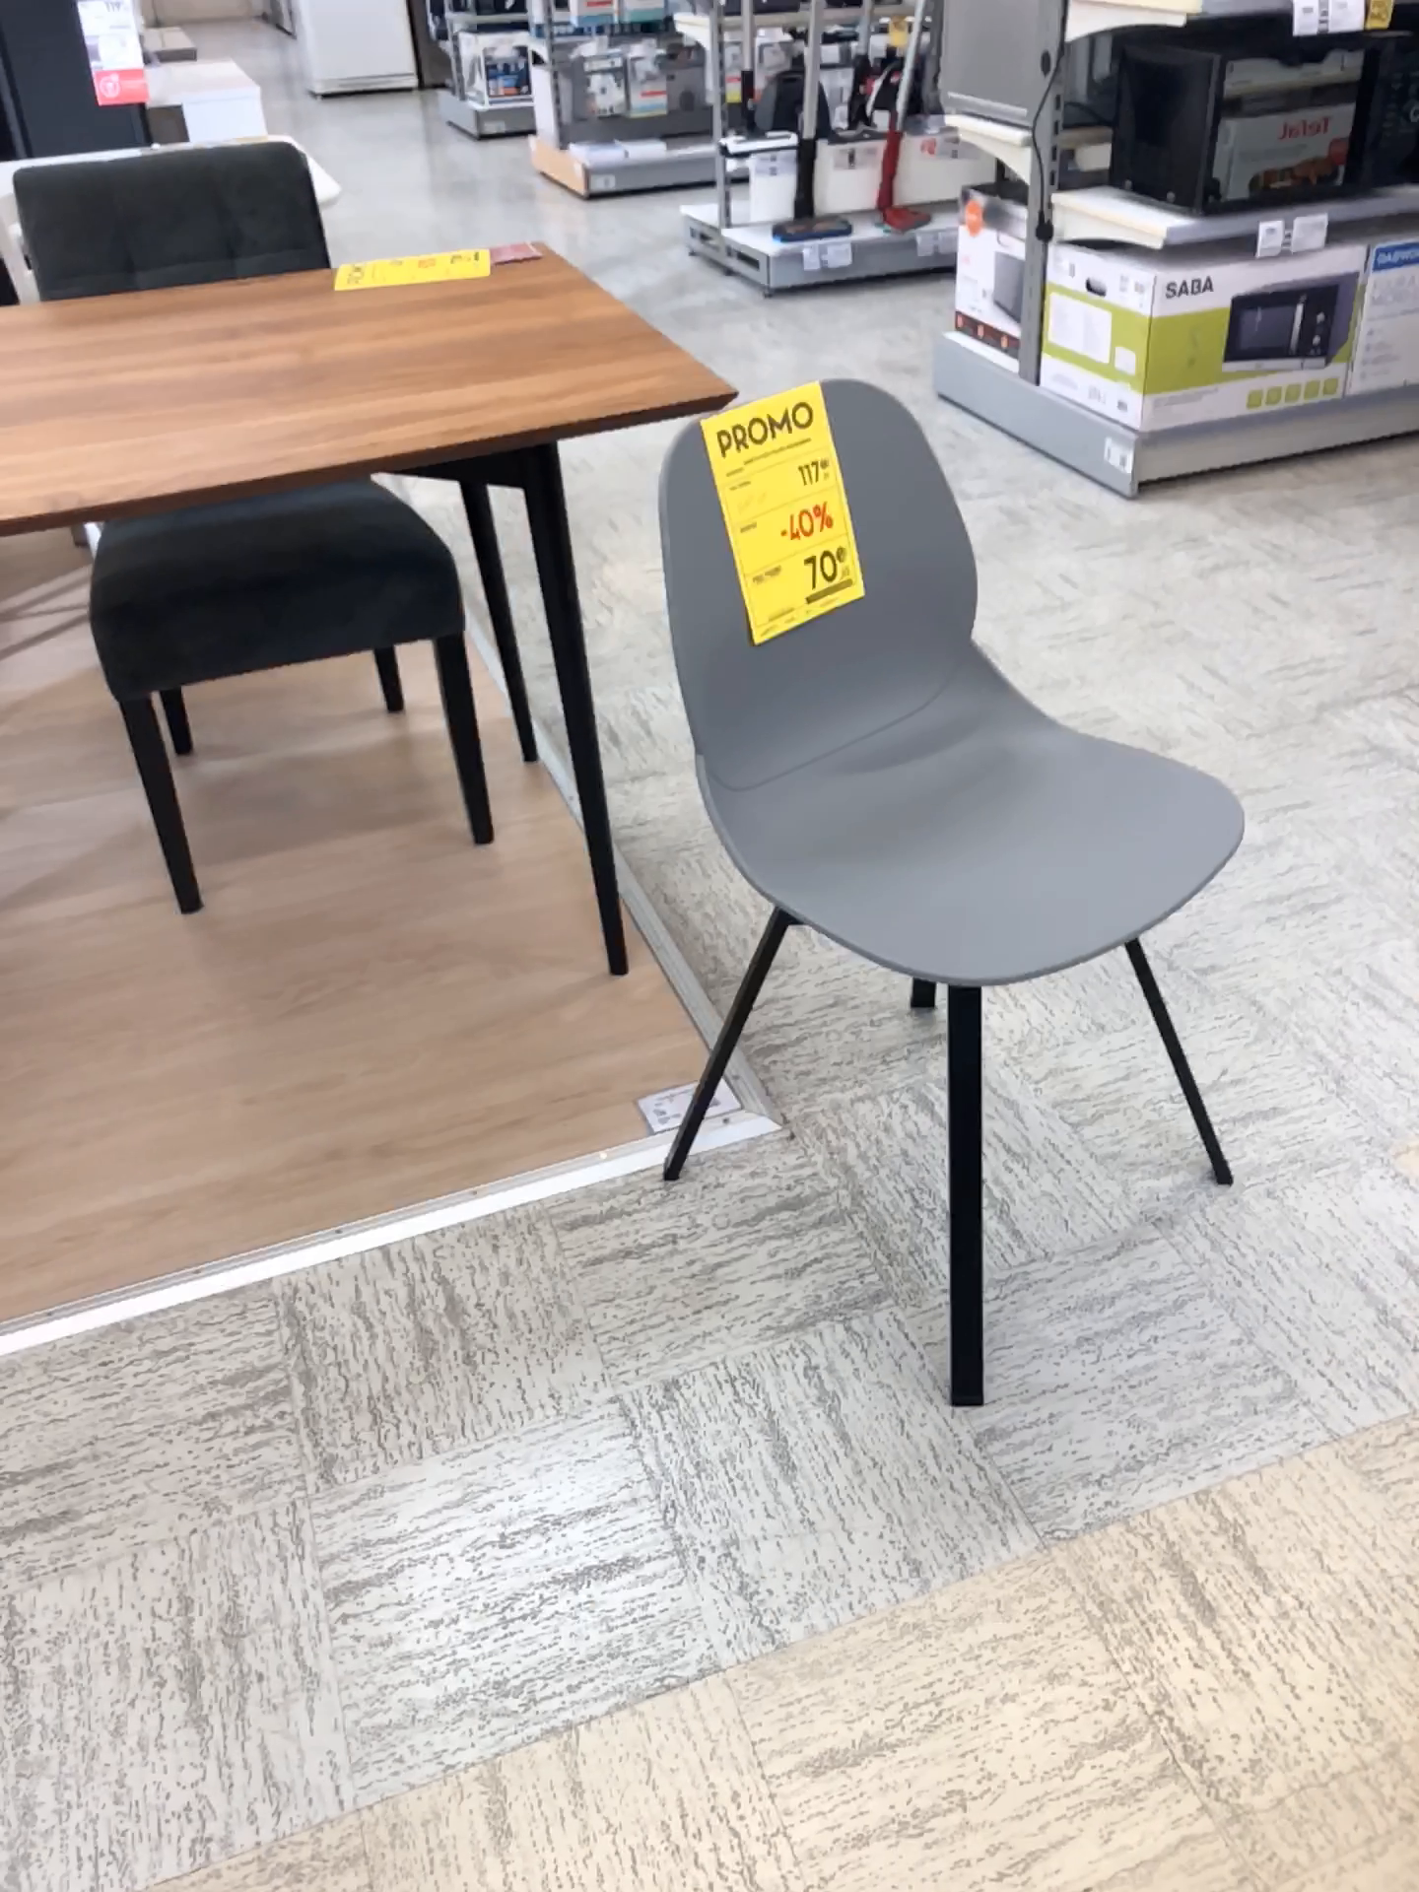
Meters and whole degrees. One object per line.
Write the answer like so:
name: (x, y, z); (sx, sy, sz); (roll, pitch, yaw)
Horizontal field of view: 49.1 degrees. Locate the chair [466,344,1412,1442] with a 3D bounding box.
chair: (0.199, -0.090, 1.492); (0.513, 0.755, 0.580); (-30, 42, -33)
